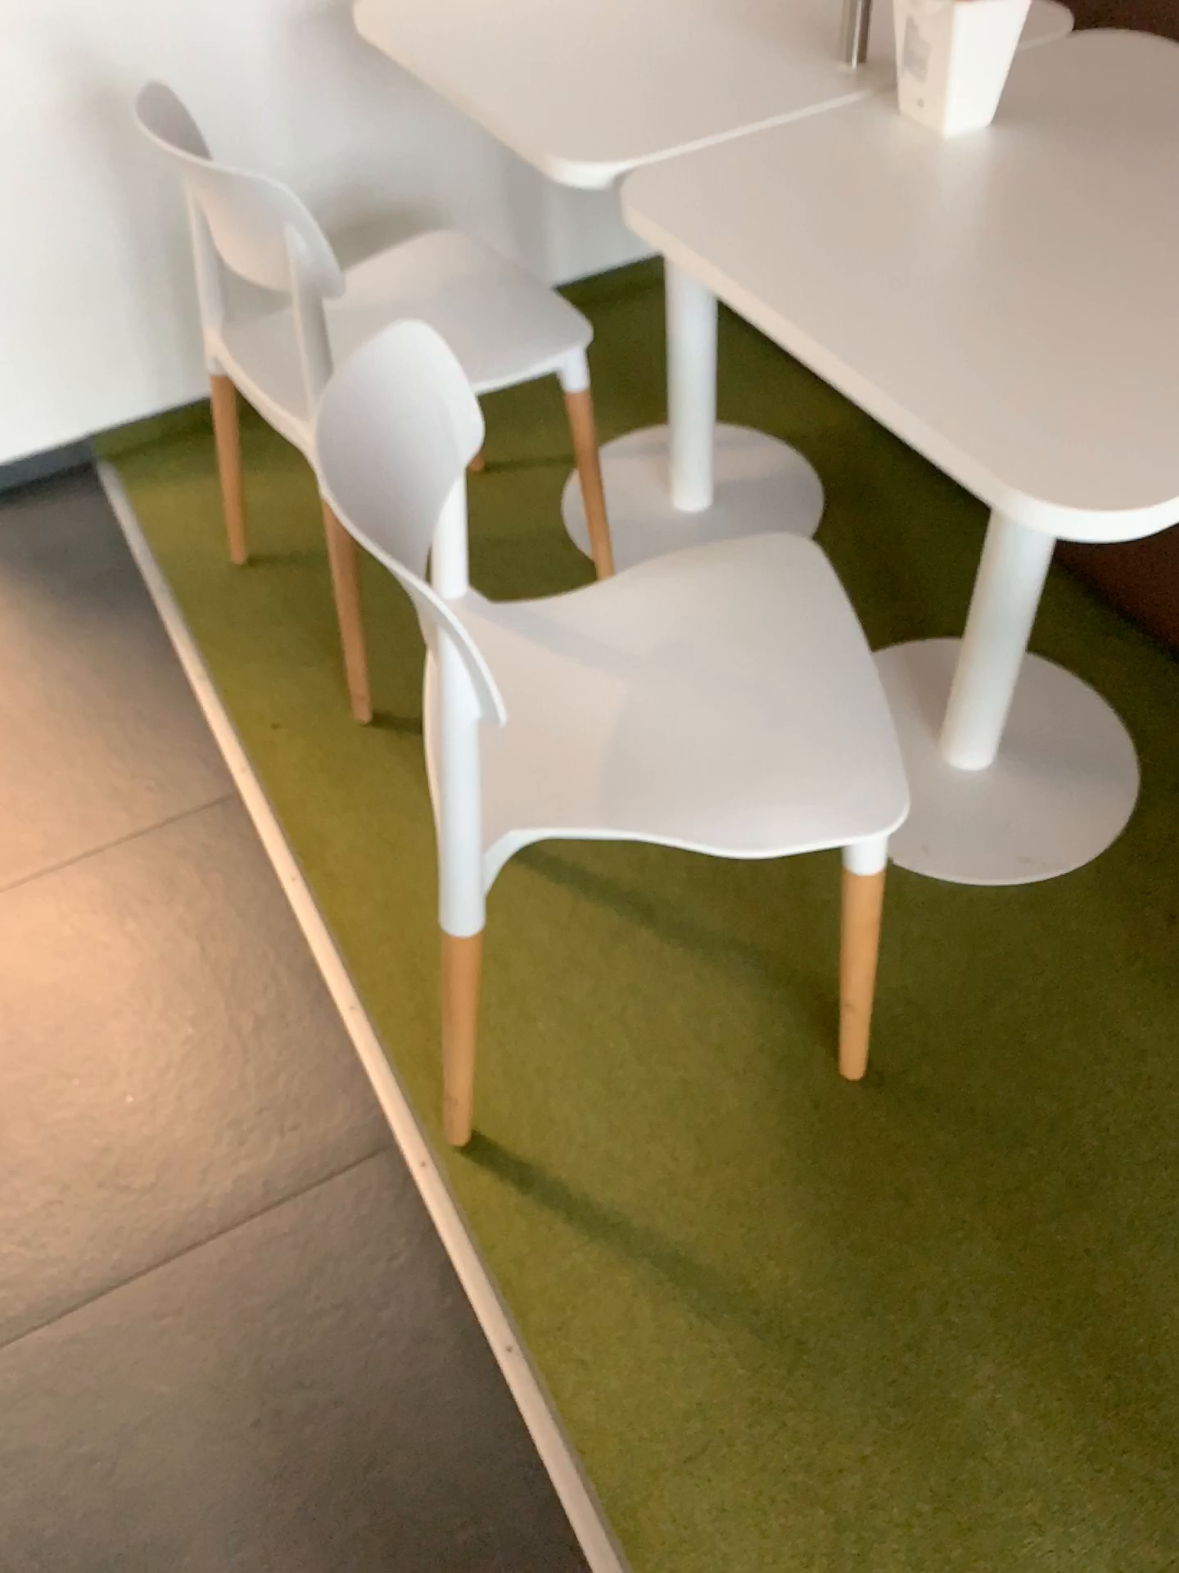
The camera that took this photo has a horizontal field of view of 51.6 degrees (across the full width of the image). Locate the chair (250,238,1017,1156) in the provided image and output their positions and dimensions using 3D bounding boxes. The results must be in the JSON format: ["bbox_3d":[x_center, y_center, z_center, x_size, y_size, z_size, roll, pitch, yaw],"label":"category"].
[{"bbox_3d":[0.035,-0.047,1.242,0.500,0.746,0.512,-5,49,0],"label":"chair"}]

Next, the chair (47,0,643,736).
[{"bbox_3d":[-0.304,-0.598,1.762,0.511,0.726,0.562,-29,53,-19],"label":"chair"}]
